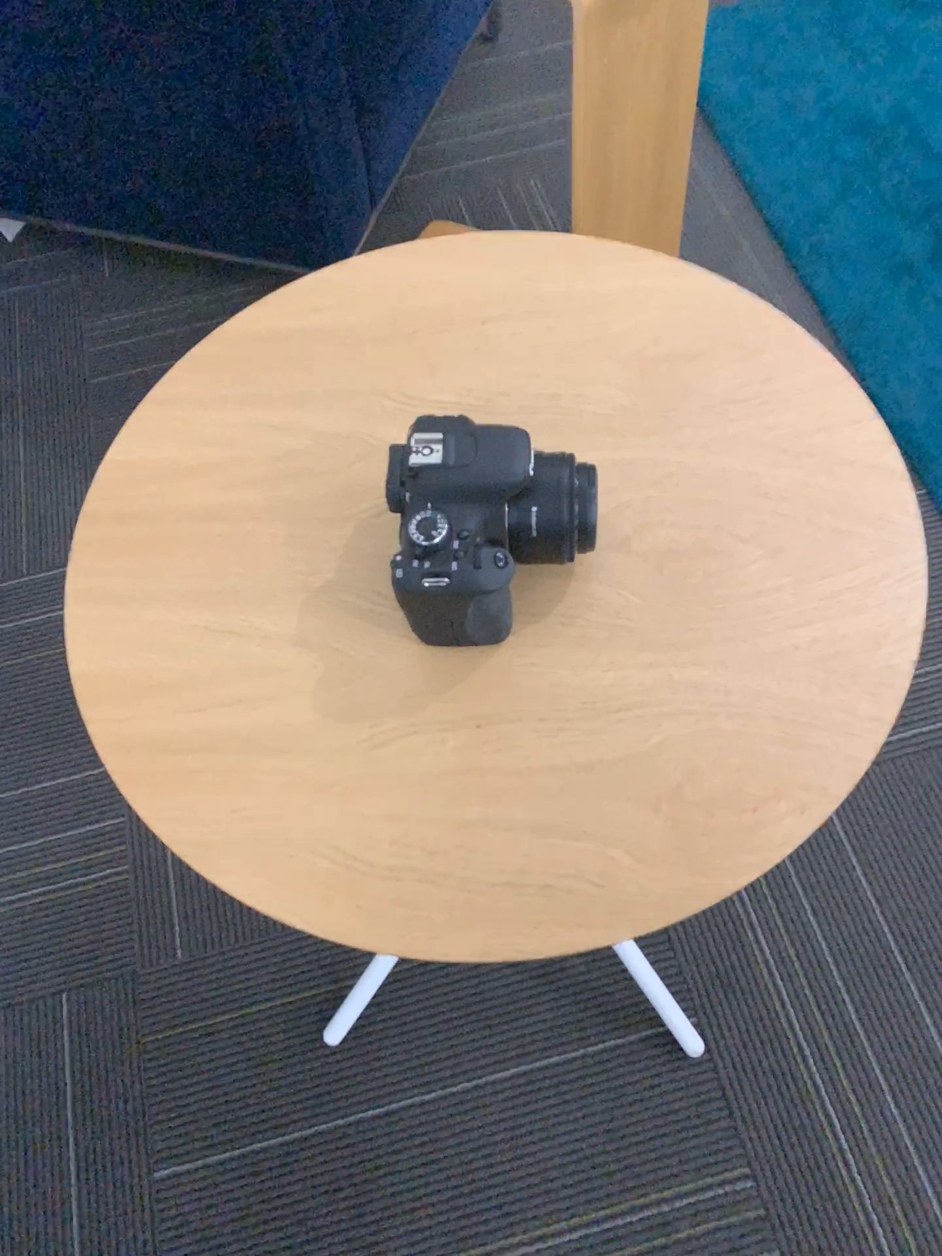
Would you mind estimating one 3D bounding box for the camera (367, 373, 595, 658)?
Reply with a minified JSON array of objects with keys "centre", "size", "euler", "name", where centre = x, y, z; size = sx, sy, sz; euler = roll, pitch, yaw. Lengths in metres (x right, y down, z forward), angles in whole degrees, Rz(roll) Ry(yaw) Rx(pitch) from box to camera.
[{"centre":[0.011,-0.063,0.564],"size":[0.117,0.100,0.130],"euler":[-1,61,5],"name":"camera"}]
